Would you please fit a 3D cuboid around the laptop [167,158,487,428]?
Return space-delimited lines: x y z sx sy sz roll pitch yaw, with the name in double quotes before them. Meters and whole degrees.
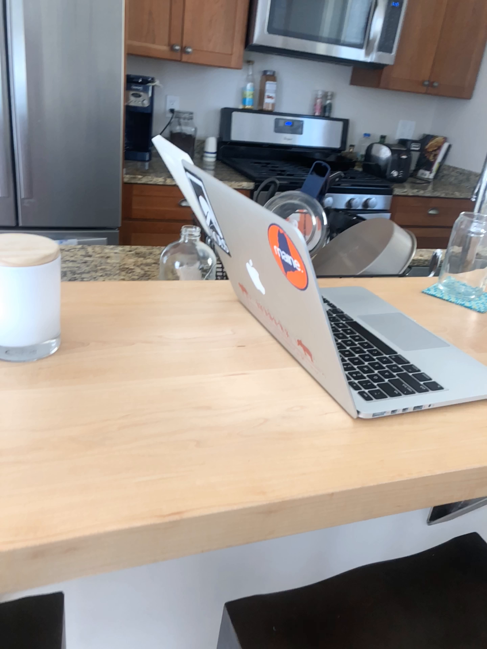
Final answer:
"laptop" 0.114 -0.069 0.656 0.323 0.188 0.323 -4 27 -23
